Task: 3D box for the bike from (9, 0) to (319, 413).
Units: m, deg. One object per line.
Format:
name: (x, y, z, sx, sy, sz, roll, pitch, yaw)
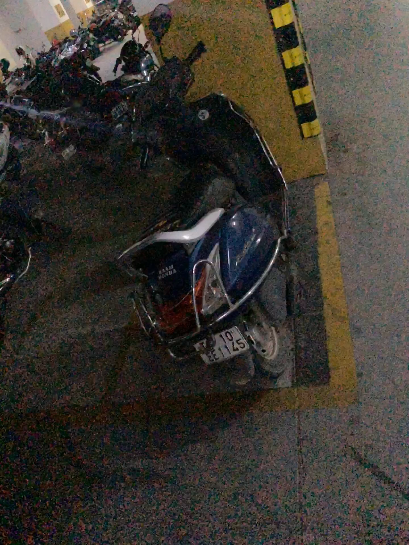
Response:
bike: (-0.117, -0.352, 1.822, 0.631, 1.062, 1.275, -19, 41, 12)
